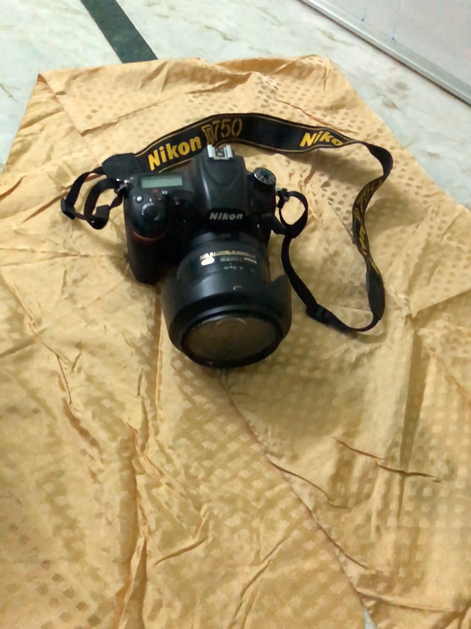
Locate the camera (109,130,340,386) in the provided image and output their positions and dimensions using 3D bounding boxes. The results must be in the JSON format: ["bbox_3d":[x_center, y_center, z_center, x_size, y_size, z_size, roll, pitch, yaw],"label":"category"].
[{"bbox_3d":[-0.021,-0.049,0.429,0.149,0.110,0.171,-5,60,-10],"label":"camera"}]
